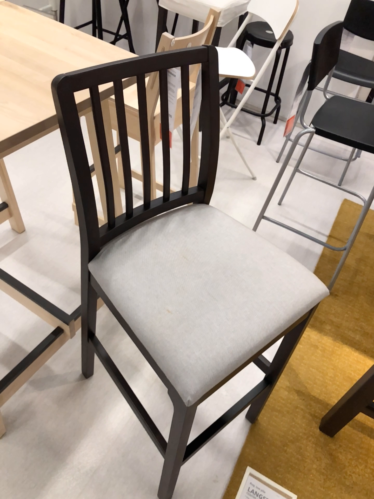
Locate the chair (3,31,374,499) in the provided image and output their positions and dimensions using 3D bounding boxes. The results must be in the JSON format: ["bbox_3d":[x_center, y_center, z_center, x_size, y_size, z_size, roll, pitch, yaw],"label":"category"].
[{"bbox_3d":[-0.006,0.154,1.061,0.482,1.093,0.562,-29,58,-31],"label":"chair"}]
